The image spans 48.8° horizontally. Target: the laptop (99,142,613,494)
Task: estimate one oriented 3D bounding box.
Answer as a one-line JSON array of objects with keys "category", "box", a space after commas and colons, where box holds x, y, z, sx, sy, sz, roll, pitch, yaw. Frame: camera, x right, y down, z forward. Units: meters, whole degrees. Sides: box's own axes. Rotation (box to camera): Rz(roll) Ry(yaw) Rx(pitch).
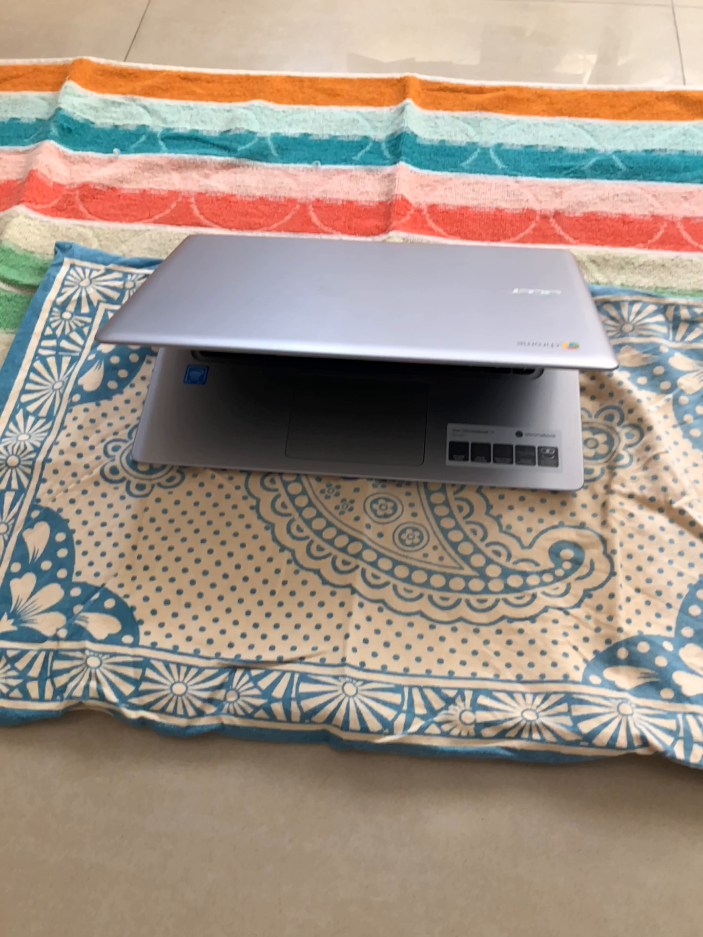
[{"category": "laptop", "box": [0.011, -0.117, 0.577, 0.319, 0.105, 0.222, 4, 61, 5]}]
